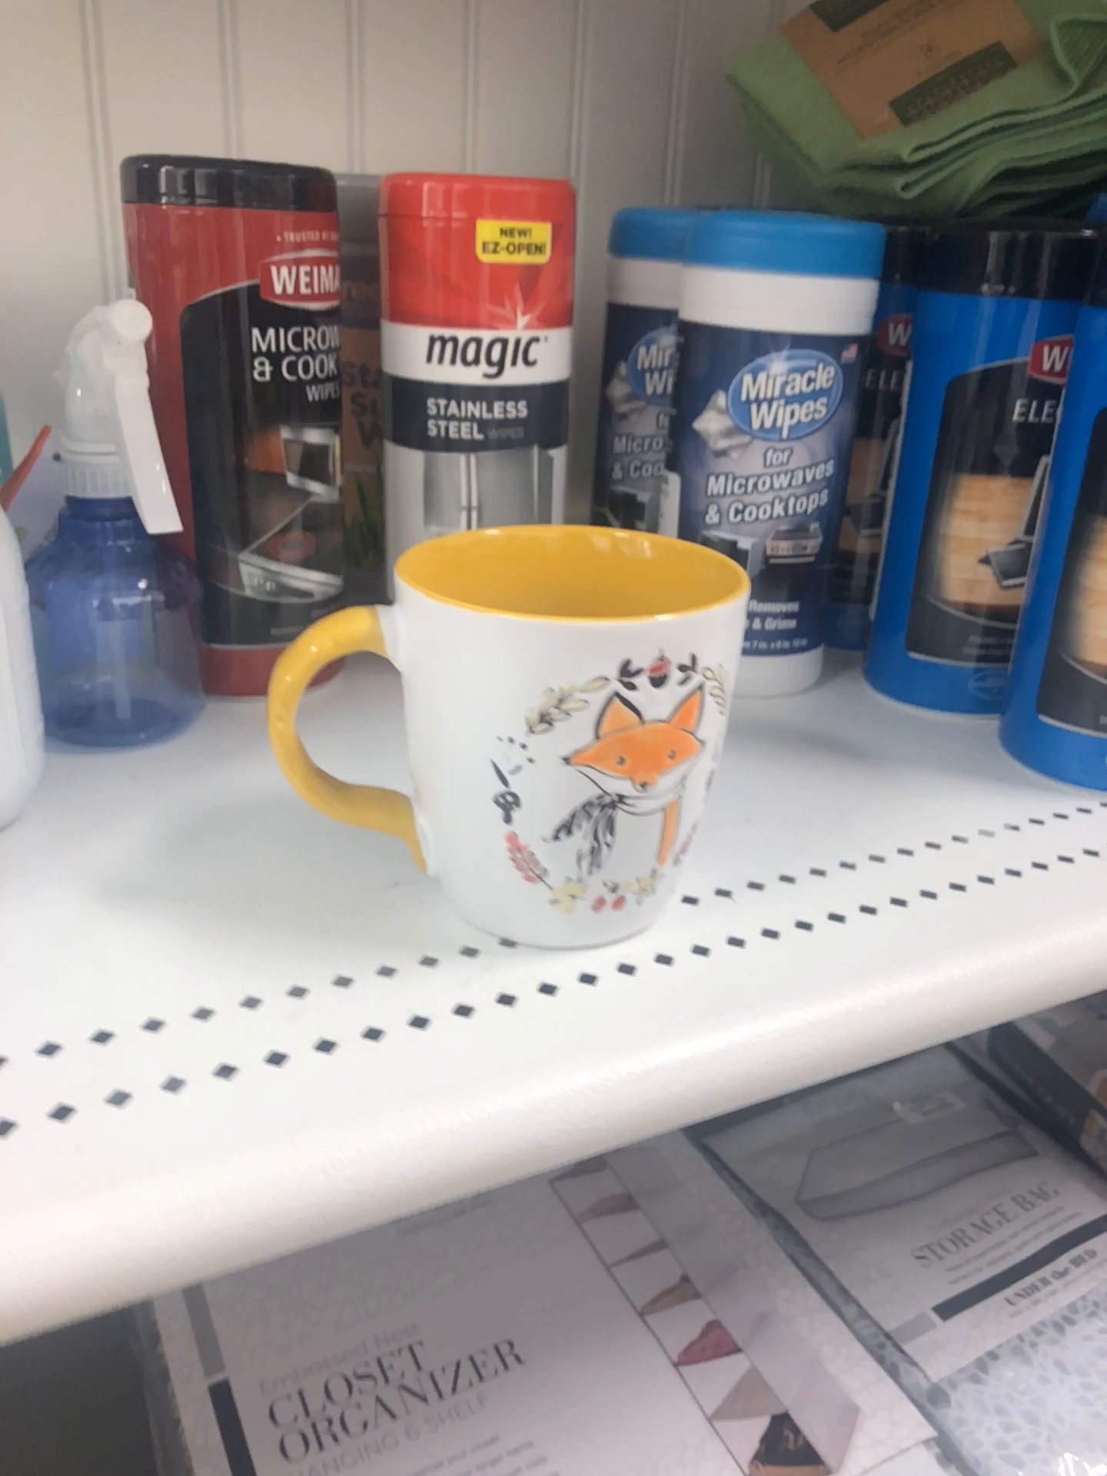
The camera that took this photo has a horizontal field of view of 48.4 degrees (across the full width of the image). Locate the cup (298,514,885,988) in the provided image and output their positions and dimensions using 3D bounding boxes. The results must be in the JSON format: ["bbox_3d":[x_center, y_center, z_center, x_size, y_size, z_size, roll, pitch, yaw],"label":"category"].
[{"bbox_3d":[0.002,-0.005,0.347,0.133,0.093,0.099,-4,23,-16],"label":"cup"}]
